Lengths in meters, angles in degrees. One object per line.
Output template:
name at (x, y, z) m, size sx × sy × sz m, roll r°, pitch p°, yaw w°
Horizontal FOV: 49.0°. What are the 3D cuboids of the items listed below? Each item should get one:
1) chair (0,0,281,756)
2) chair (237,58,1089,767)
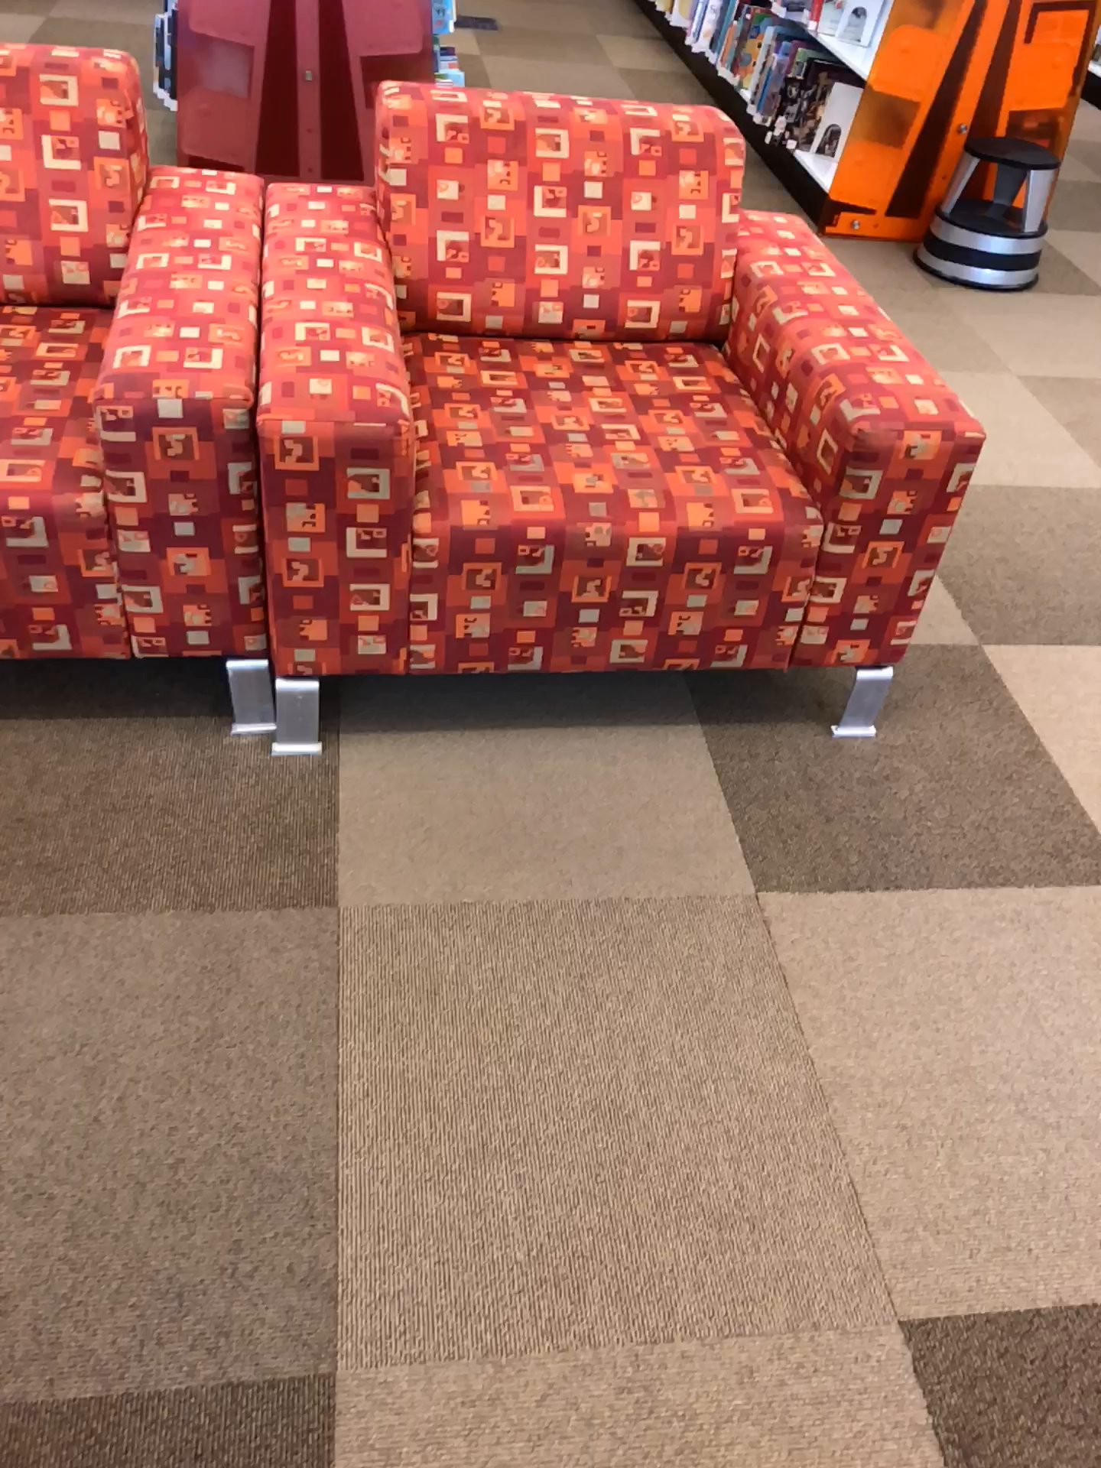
chair at (-0.895, -0.563, 1.813) m, size 0.919 × 0.716 × 0.956 m, roll -1°, pitch 41°, yaw -11°
chair at (0.048, -0.548, 1.959) m, size 1.003 × 0.686 × 0.996 m, roll -1°, pitch 41°, yaw -11°
